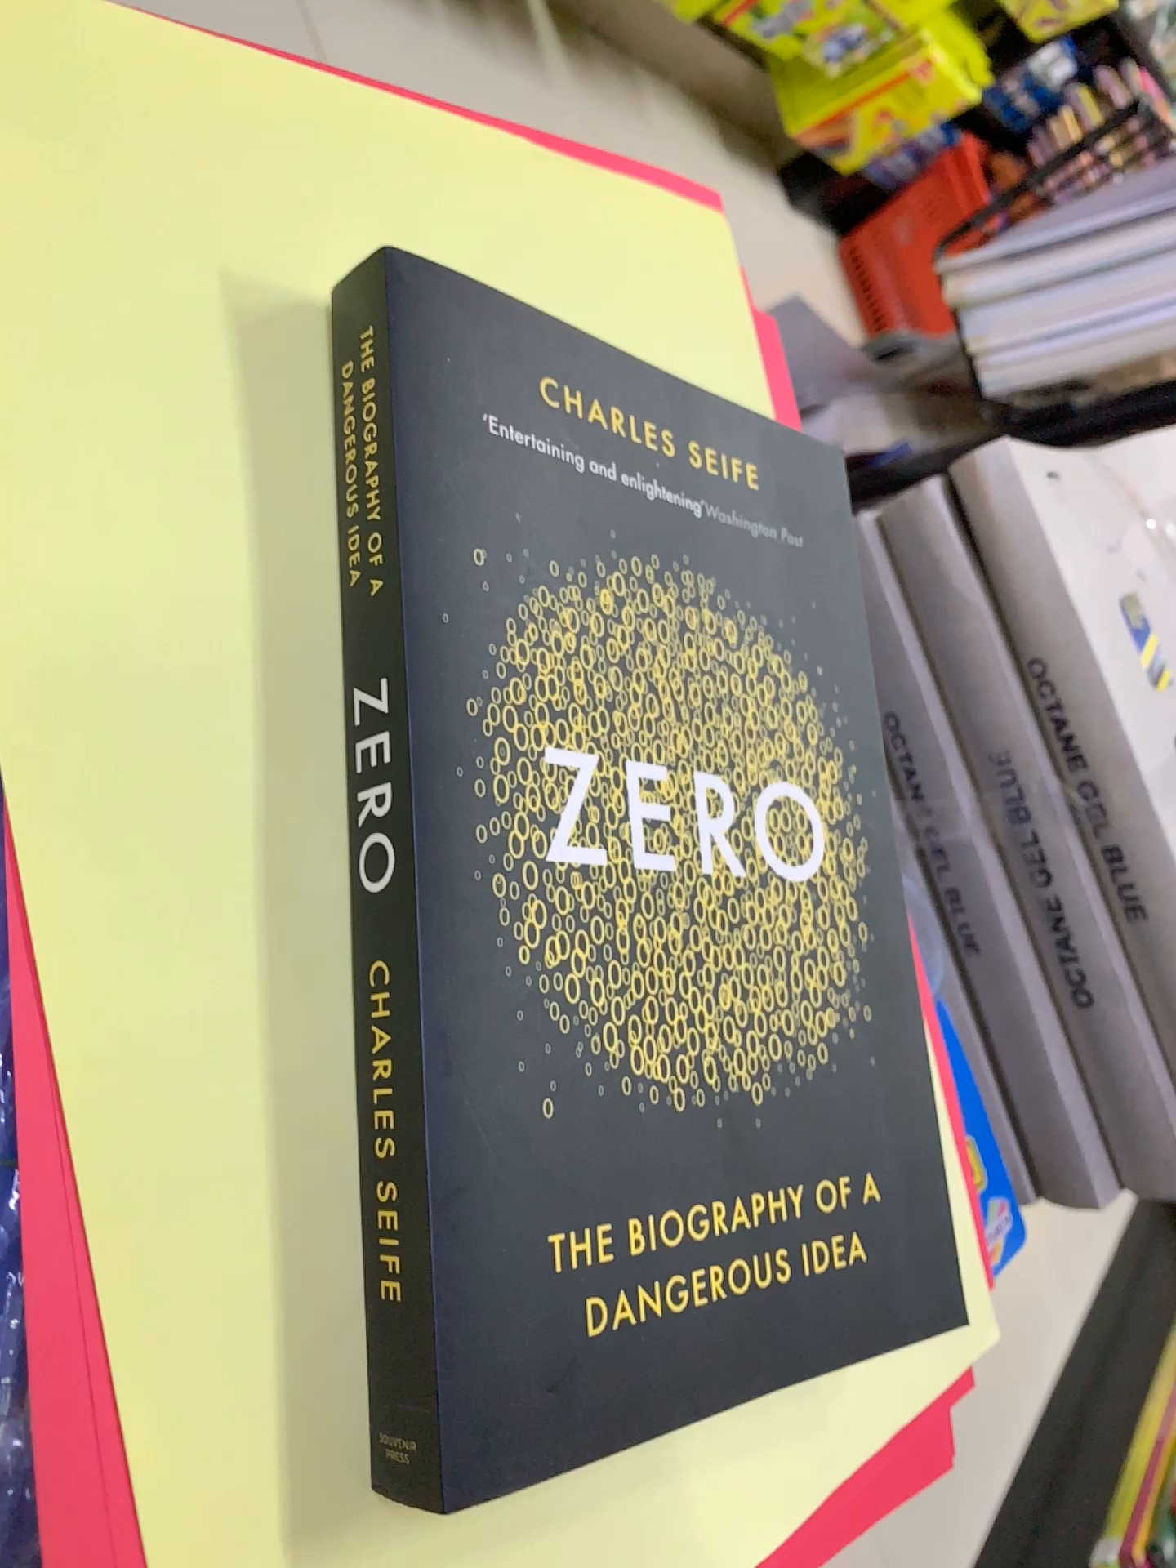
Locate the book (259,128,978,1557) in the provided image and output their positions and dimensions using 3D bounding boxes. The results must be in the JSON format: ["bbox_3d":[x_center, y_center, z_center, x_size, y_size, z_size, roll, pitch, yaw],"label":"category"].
[{"bbox_3d":[0.008,0.006,0.229,0.131,0.040,0.200,8,73,-43],"label":"book"}]
